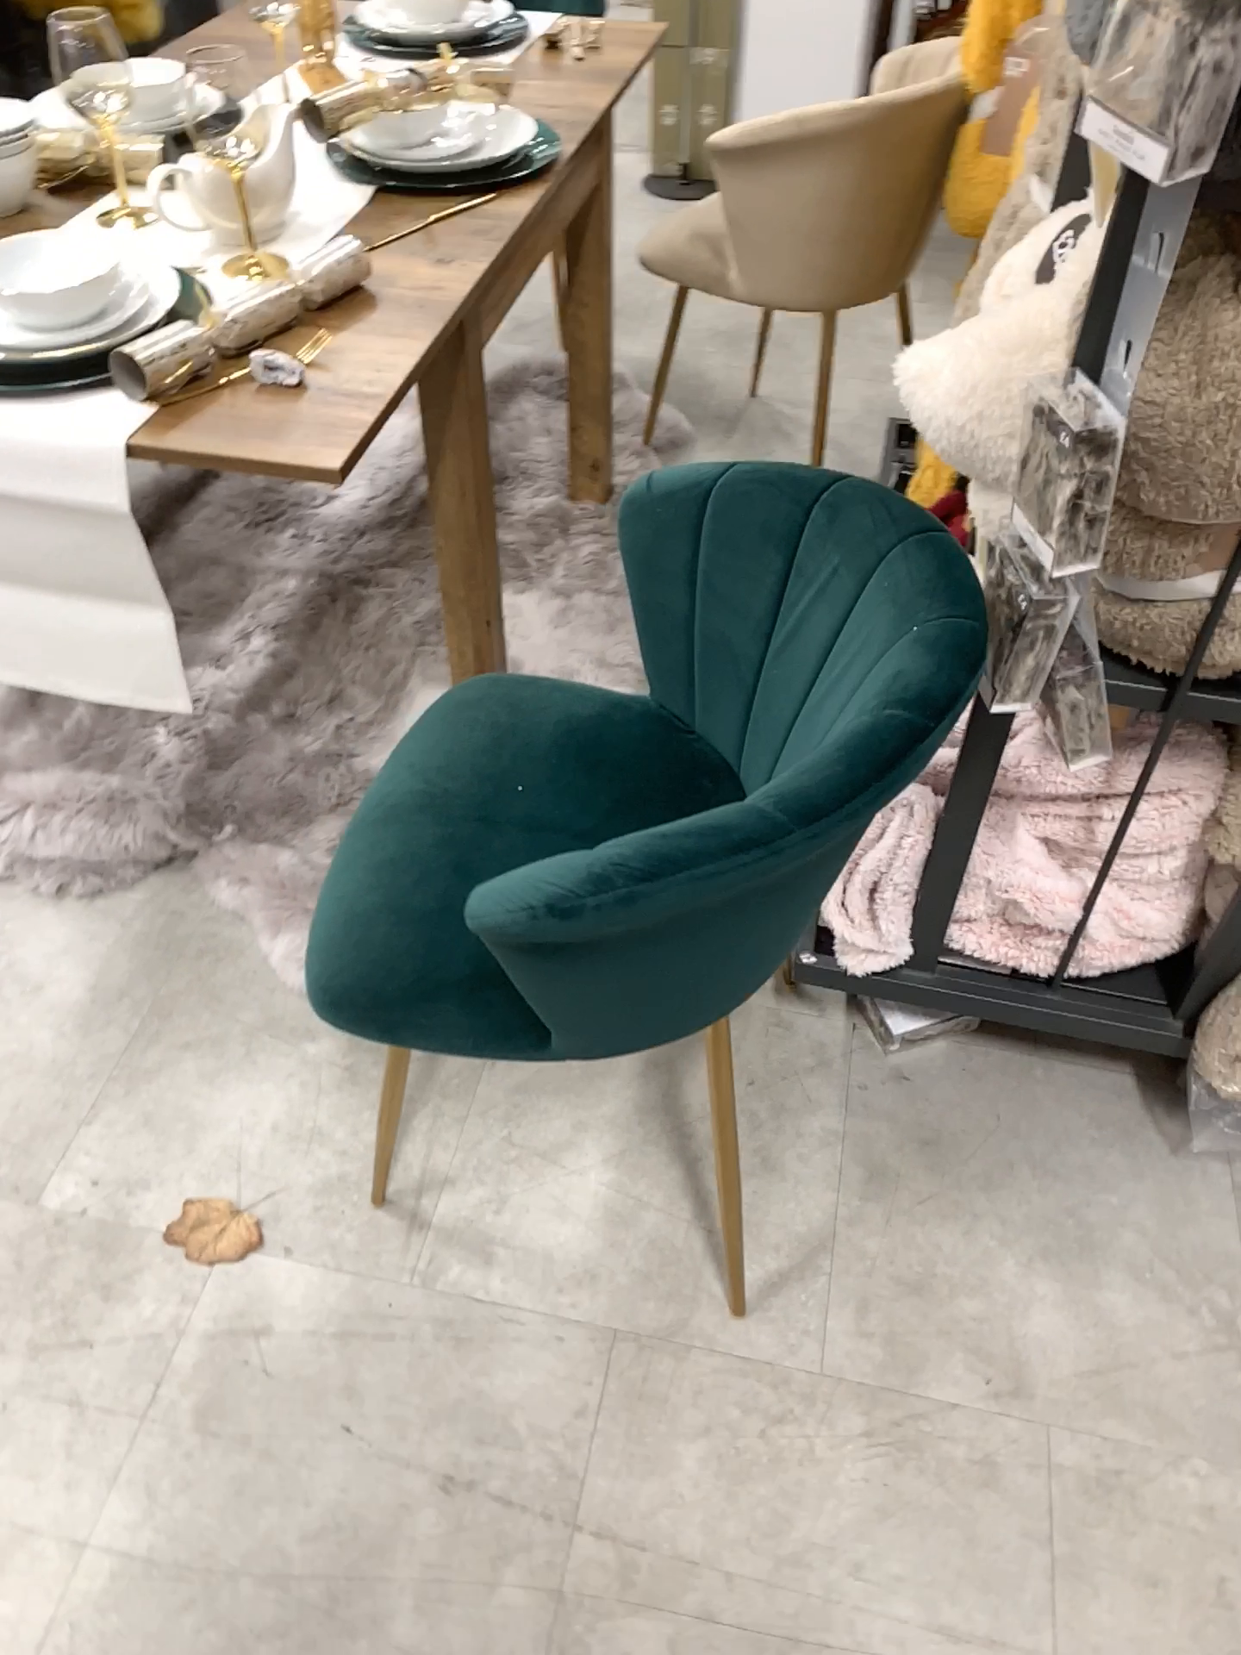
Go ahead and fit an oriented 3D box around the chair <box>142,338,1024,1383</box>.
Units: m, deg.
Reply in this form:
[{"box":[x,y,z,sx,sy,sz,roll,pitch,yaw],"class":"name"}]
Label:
[{"box":[0.021,0.046,1.200,0.525,0.754,0.544,11,46,11],"class":"chair"}]
